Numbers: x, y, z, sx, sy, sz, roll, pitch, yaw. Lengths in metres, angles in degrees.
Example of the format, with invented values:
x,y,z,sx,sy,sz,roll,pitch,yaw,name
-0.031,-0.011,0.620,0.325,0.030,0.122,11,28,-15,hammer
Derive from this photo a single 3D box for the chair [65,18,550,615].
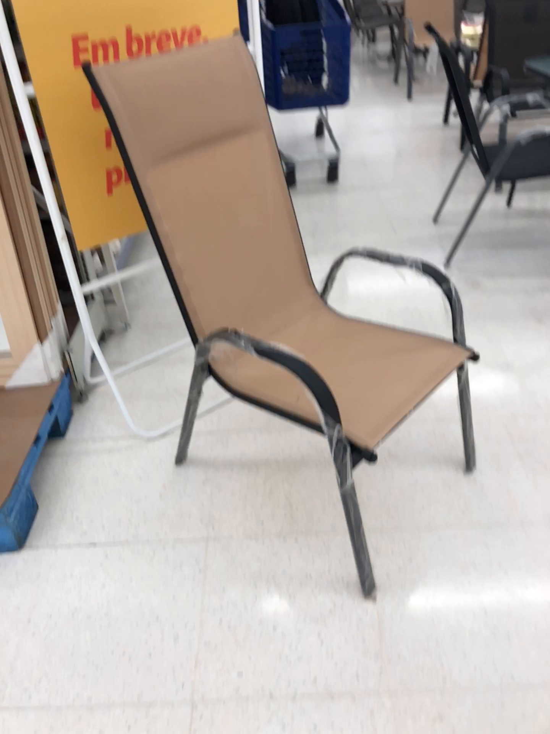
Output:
x,y,z,sx,sy,sz,roll,pitch,yaw,name
0.125,-0.161,1.331,0.702,0.972,0.623,25,45,35,chair
